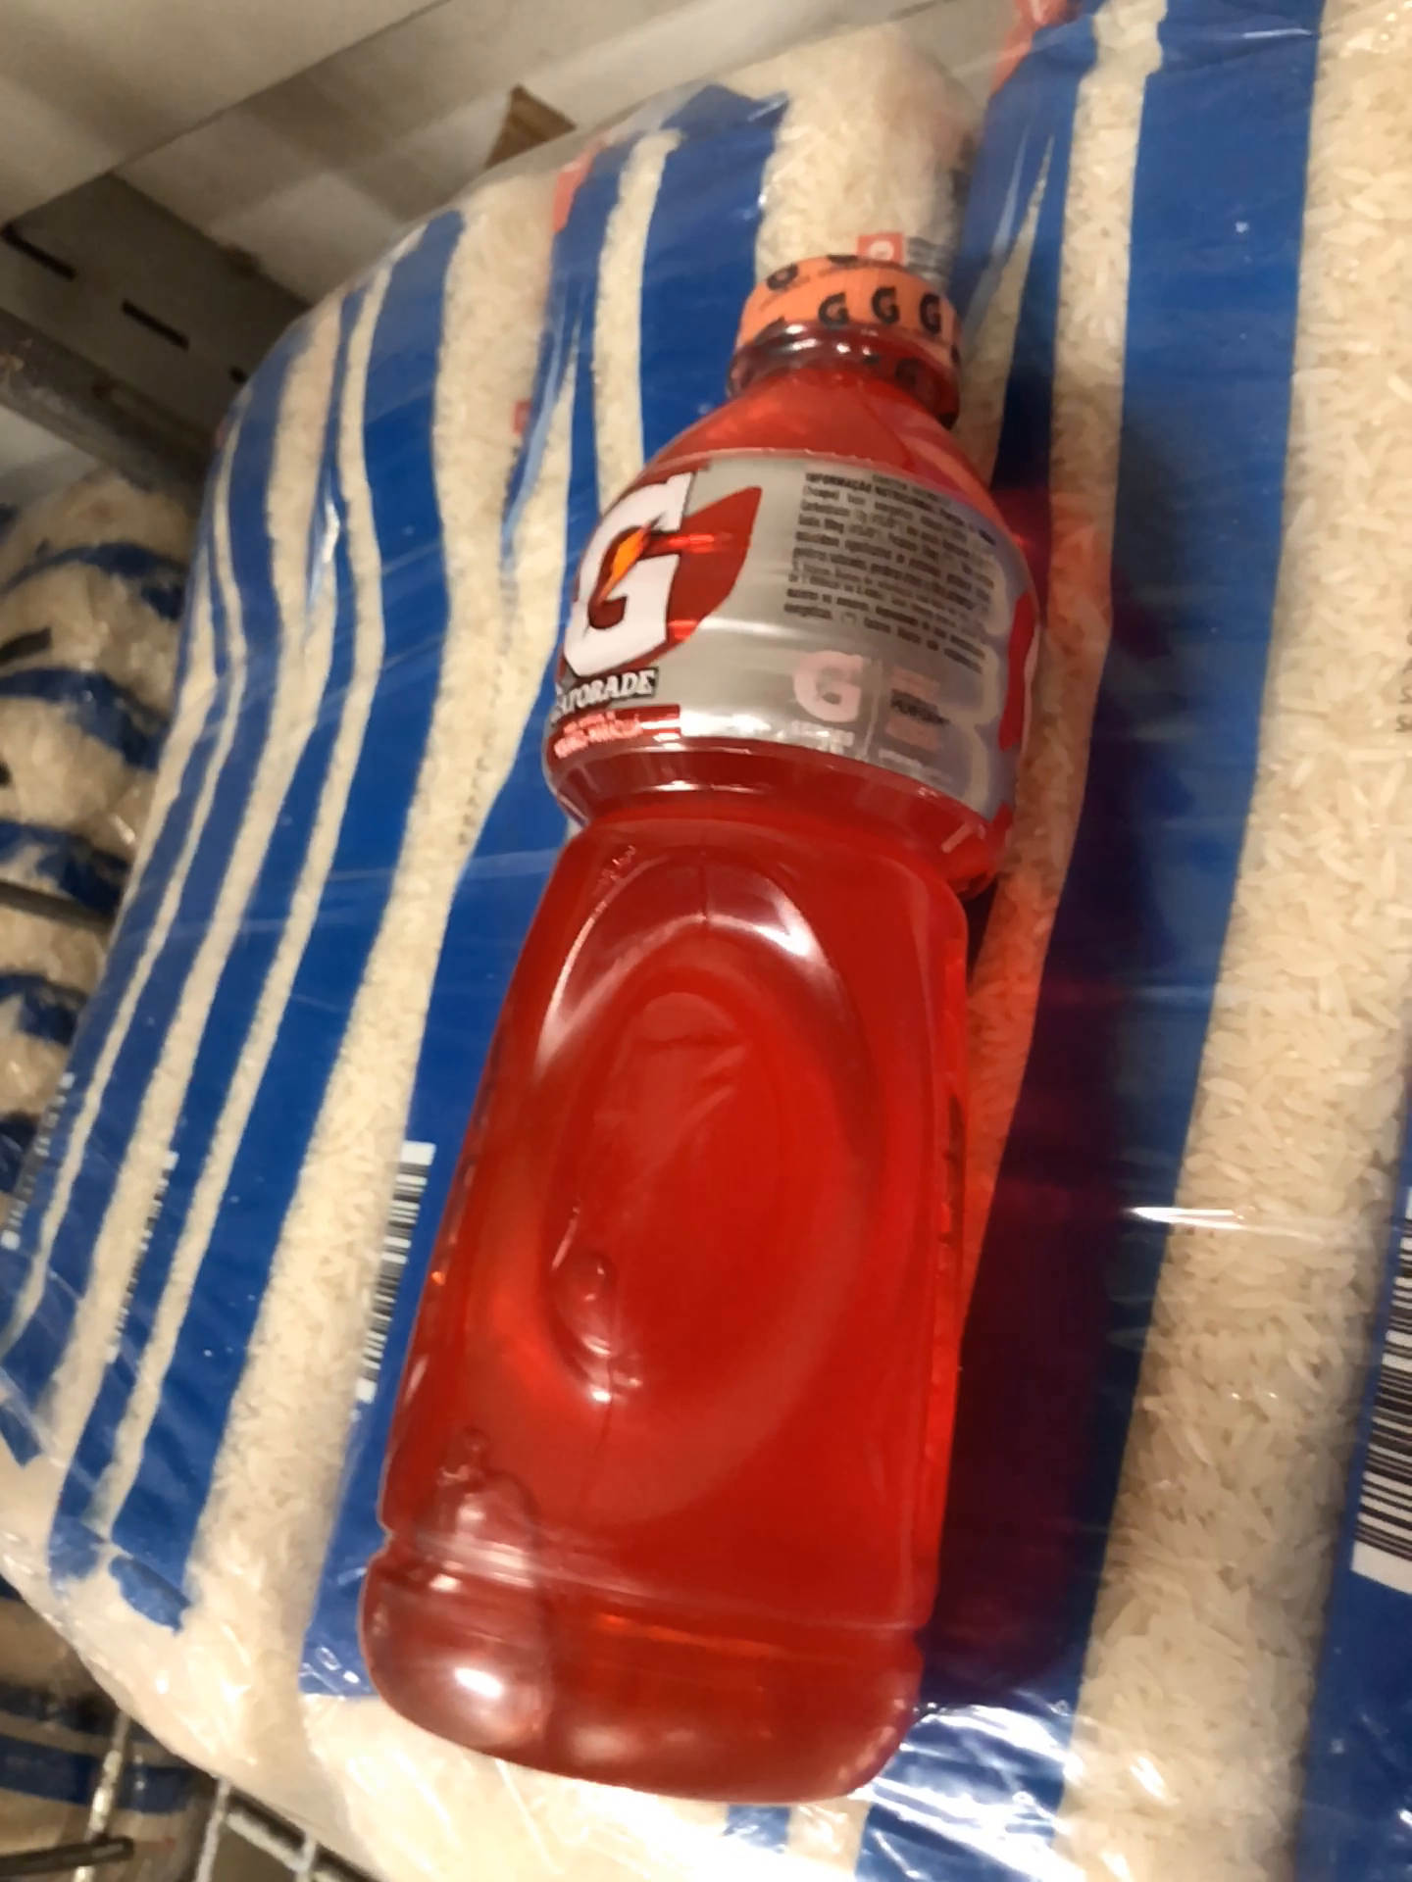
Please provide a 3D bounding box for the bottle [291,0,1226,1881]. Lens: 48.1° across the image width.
[{"bbox_3d":[0.013,-0.002,0.207,0.080,0.060,0.220,-3,75,39],"label":"bottle"}]
